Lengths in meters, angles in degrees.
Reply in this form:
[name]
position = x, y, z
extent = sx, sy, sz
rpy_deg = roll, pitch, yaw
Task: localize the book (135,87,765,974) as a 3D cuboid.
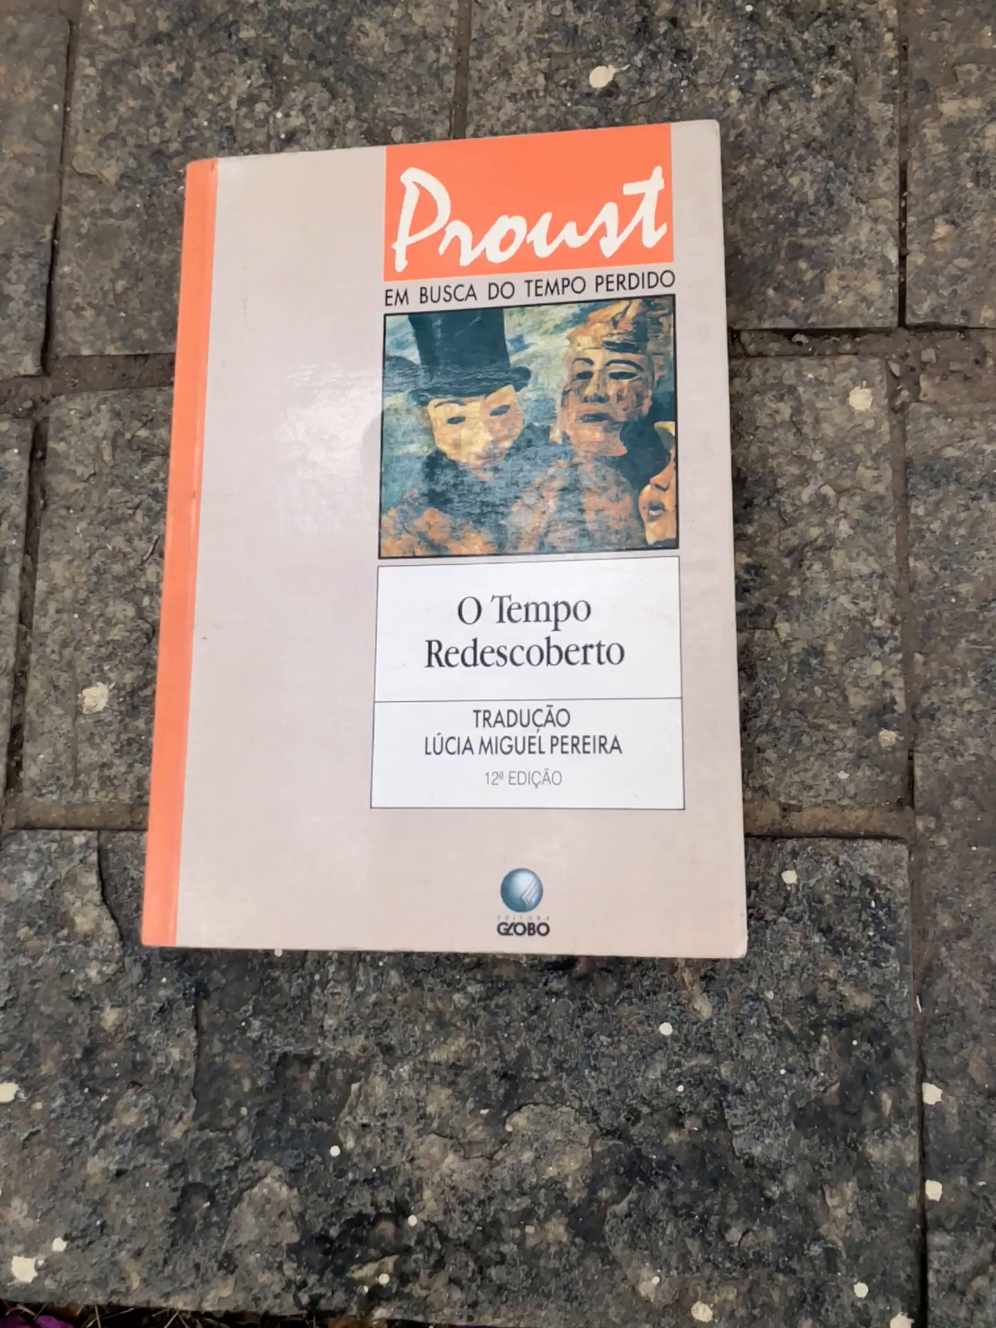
[book]
position = -0.011, -0.033, 0.260
extent = 0.134, 0.023, 0.199
rpy_deg = -1, 80, 7
